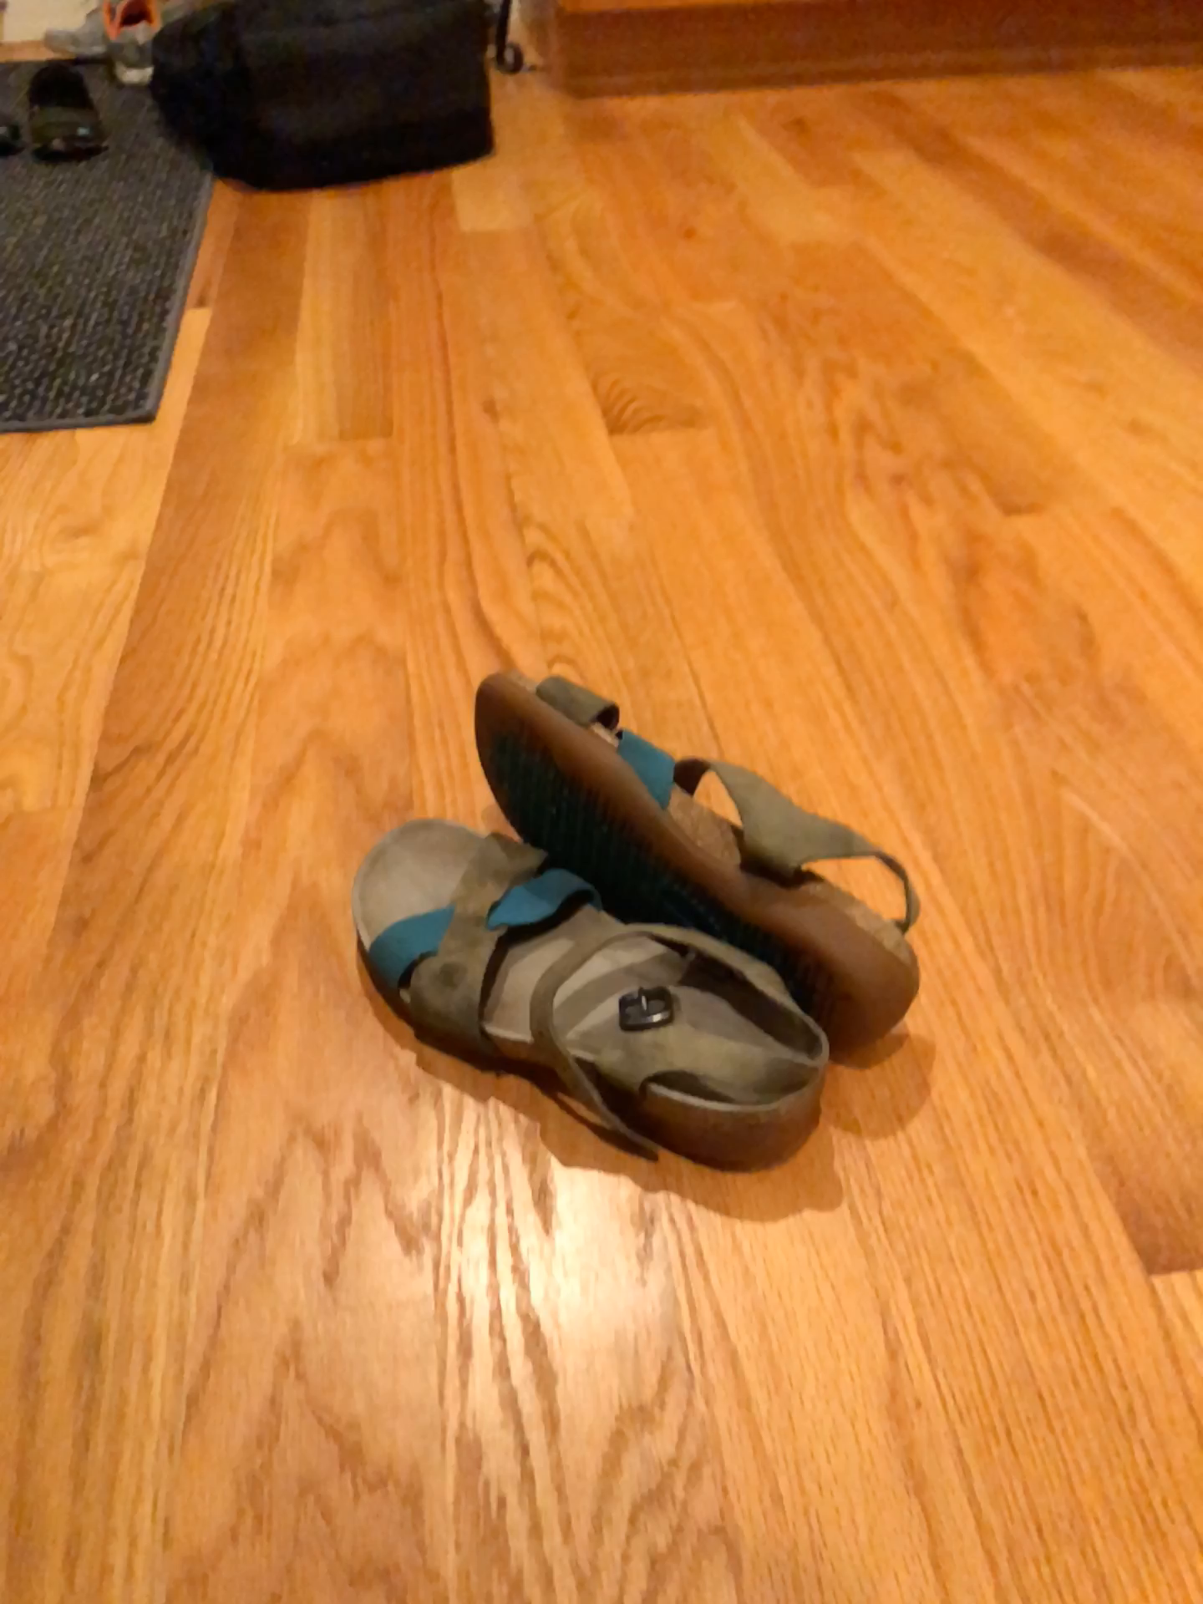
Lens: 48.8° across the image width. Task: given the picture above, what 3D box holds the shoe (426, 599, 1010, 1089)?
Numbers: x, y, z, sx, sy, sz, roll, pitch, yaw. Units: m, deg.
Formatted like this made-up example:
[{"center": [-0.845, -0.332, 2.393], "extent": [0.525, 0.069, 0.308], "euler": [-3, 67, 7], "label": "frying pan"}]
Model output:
[{"center": [0.039, 0.009, 0.561], "extent": [0.238, 0.104, 0.065], "euler": [26, 46, 30], "label": "shoe"}]

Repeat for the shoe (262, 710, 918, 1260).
[{"center": [-0.011, 0.059, 0.533], "extent": [0.240, 0.075, 0.105], "euler": [26, 46, 30], "label": "shoe"}]
